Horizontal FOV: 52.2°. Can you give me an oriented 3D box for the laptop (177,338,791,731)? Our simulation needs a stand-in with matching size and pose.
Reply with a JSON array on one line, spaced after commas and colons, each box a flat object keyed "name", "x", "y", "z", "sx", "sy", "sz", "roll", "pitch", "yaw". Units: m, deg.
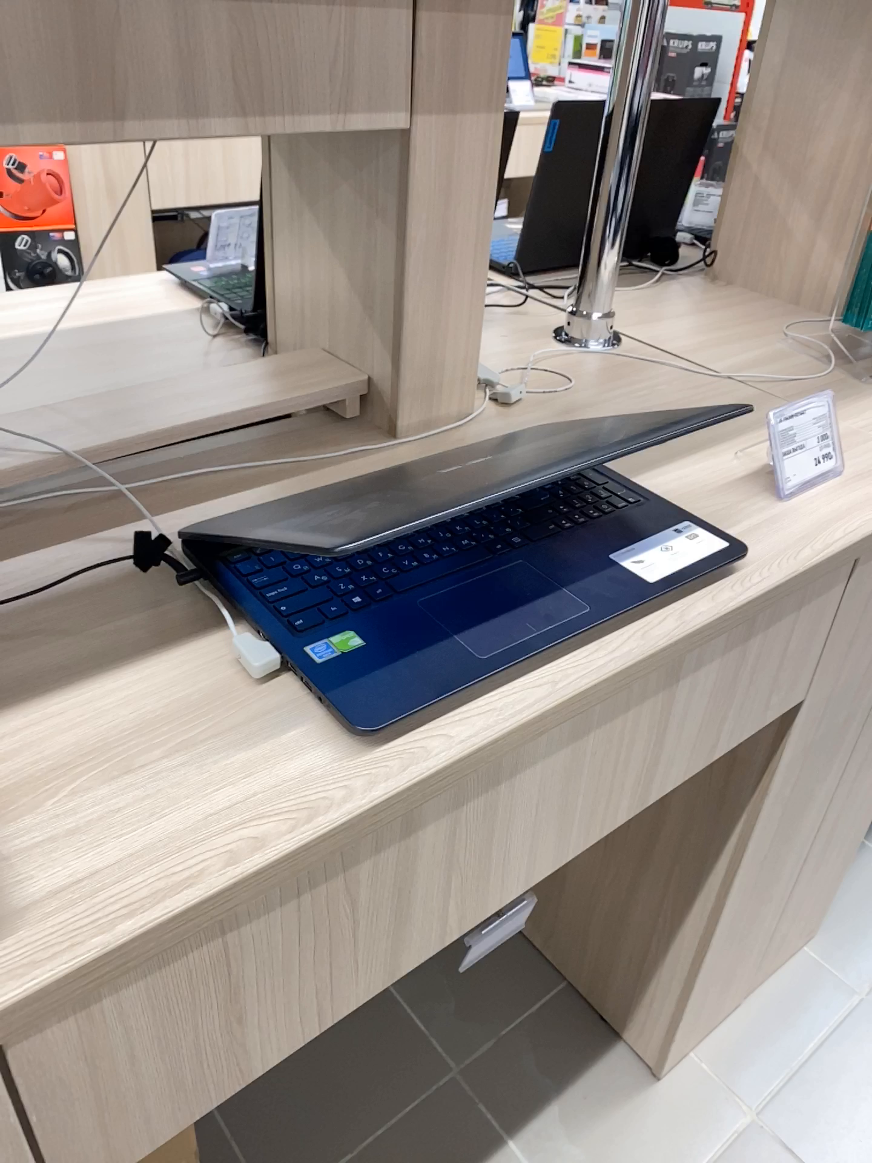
[{"name": "laptop", "x": 0.043, "y": -0.069, "z": 0.668, "sx": 0.386, "sy": 0.098, "sz": 0.236, "roll": -20, "pitch": 42, "yaw": -33}]
